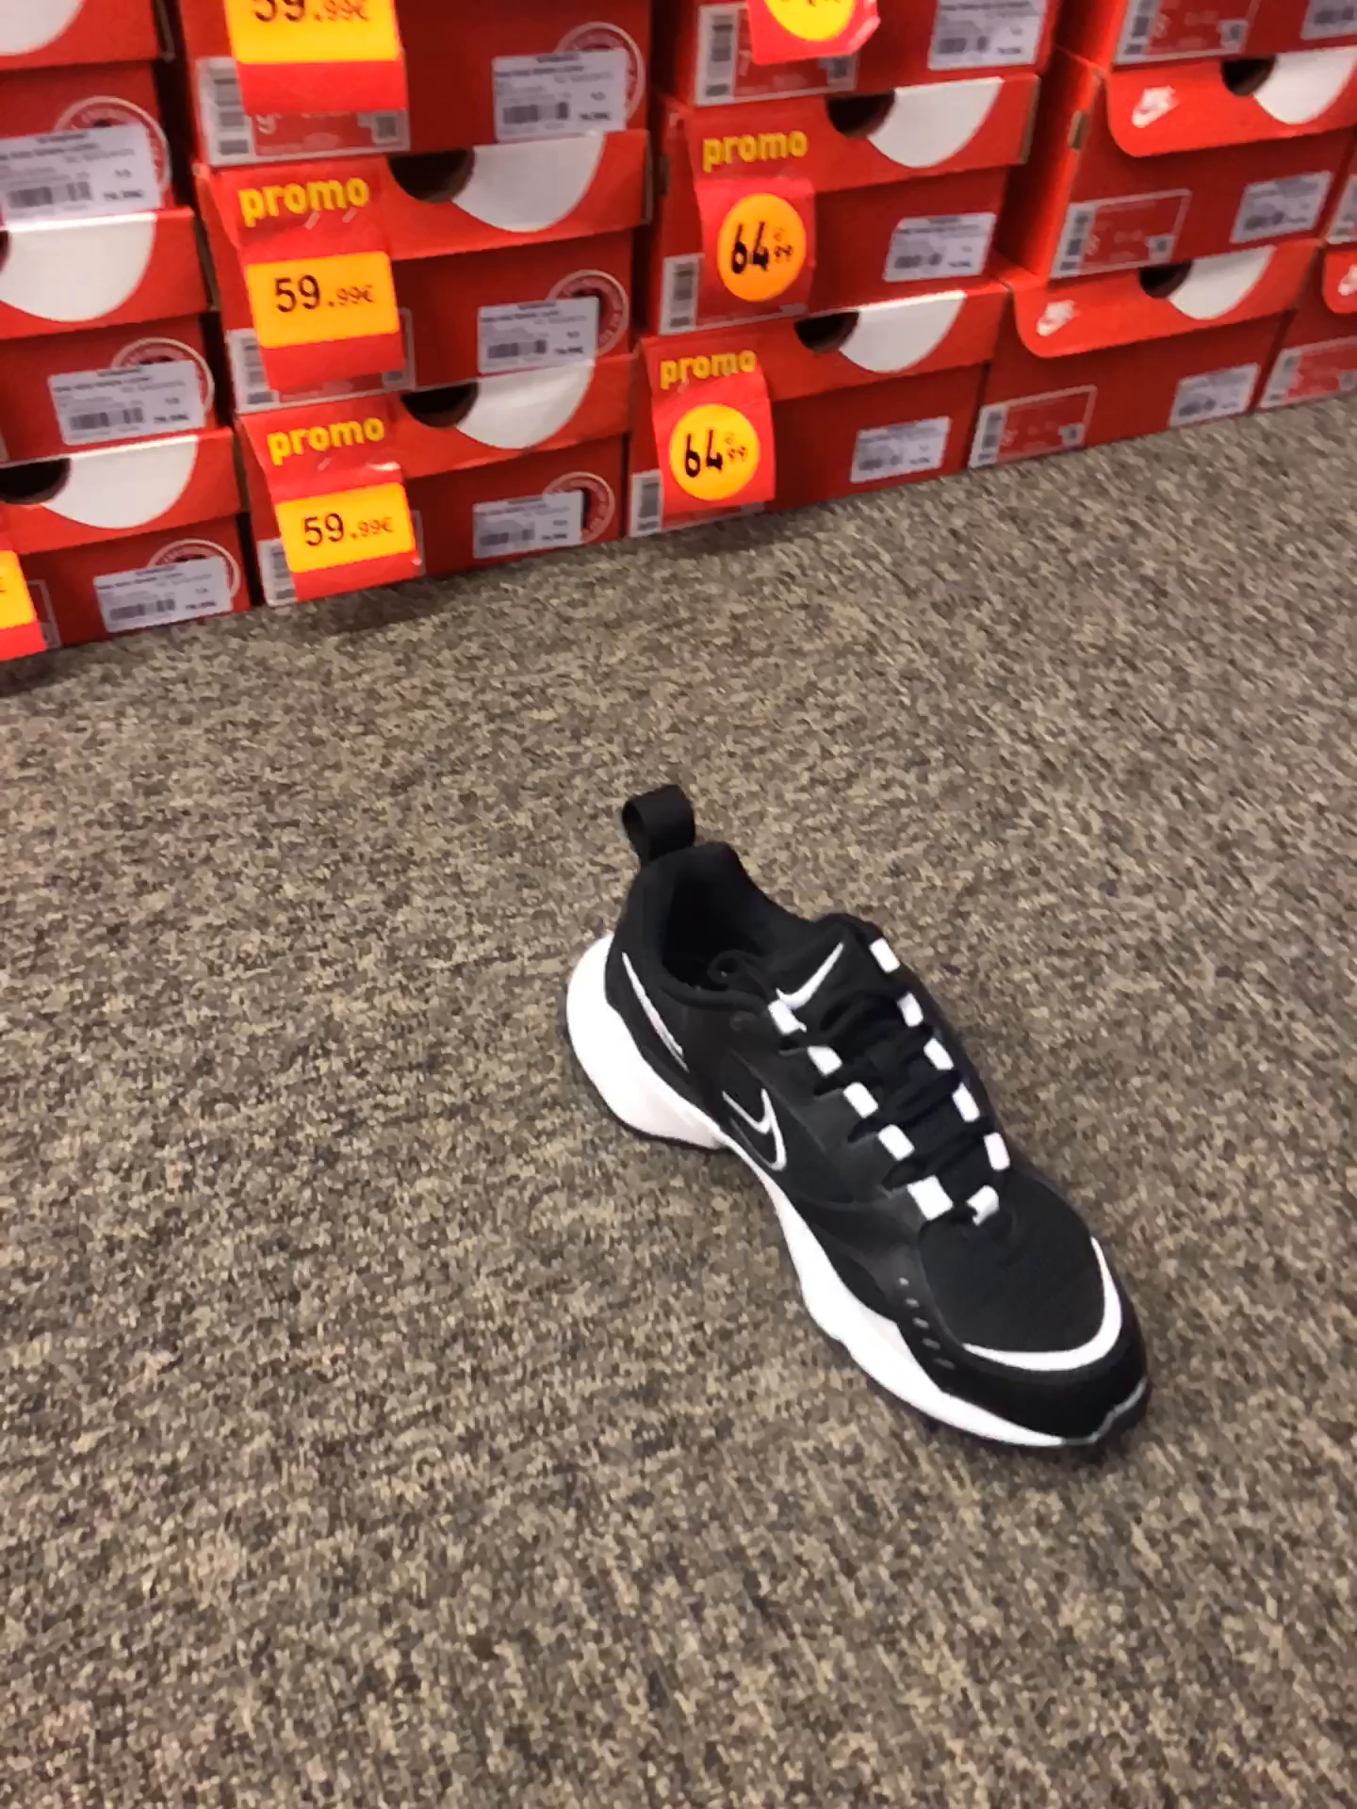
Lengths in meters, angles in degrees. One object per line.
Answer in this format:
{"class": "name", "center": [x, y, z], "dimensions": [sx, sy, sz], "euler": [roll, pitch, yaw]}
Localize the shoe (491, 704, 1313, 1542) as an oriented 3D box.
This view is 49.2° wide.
{"class": "shoe", "center": [0.057, 0.063, 0.511], "dimensions": [0.105, 0.109, 0.260], "euler": [-32, 59, -30]}
